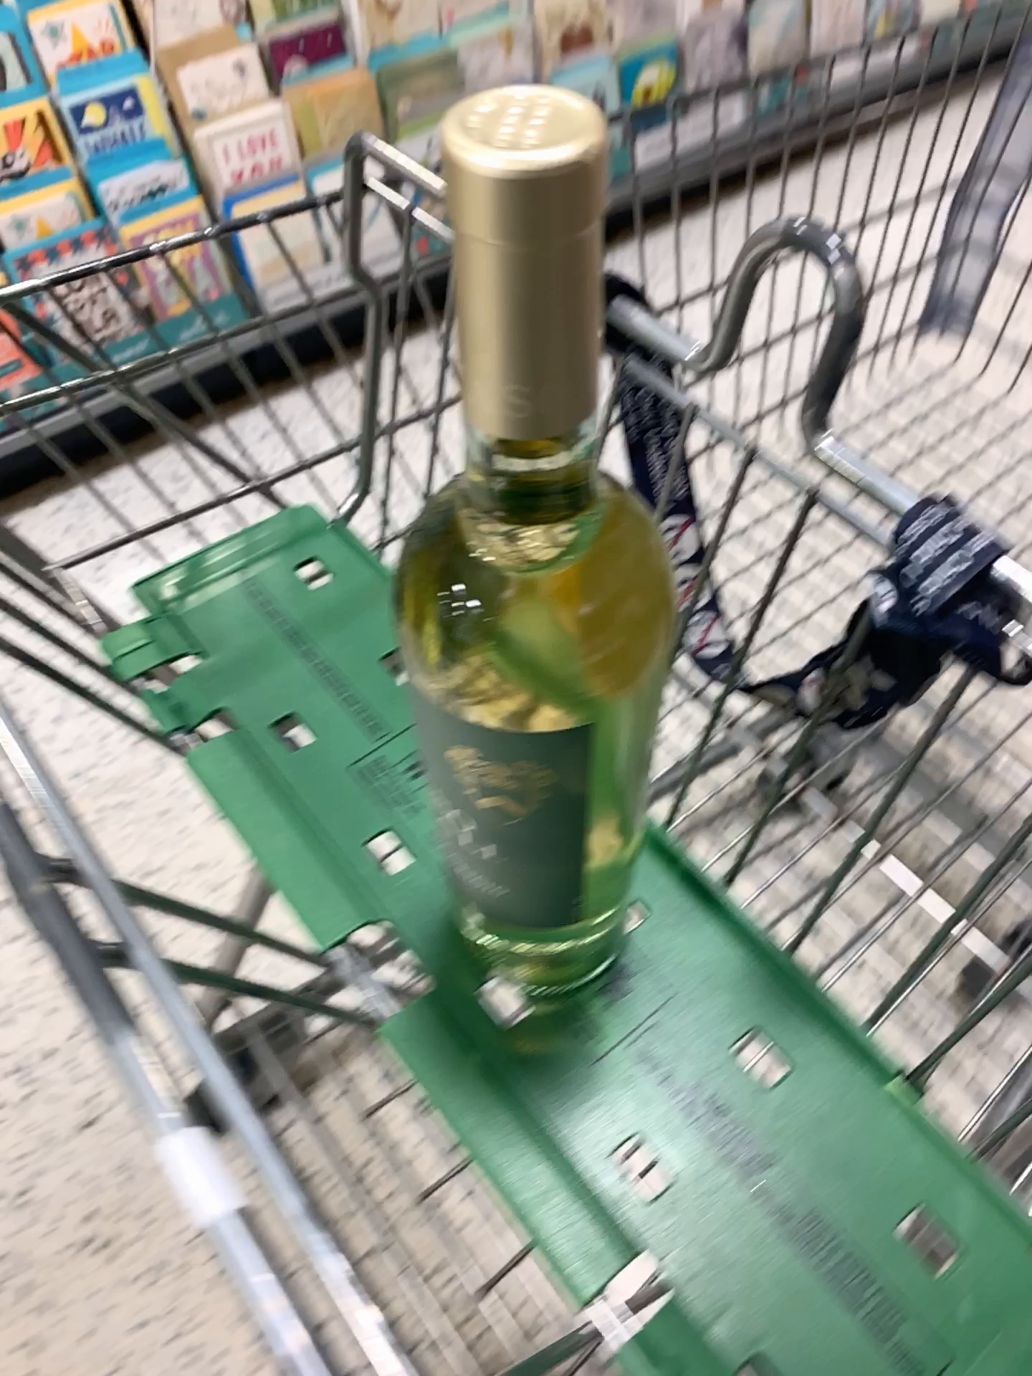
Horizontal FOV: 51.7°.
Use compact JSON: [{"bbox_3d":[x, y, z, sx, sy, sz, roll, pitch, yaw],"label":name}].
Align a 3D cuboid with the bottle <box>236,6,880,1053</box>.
[{"bbox_3d":[0.009,-0.001,0.331,0.090,0.337,0.081,-27,57,-18],"label":"bottle"}]
